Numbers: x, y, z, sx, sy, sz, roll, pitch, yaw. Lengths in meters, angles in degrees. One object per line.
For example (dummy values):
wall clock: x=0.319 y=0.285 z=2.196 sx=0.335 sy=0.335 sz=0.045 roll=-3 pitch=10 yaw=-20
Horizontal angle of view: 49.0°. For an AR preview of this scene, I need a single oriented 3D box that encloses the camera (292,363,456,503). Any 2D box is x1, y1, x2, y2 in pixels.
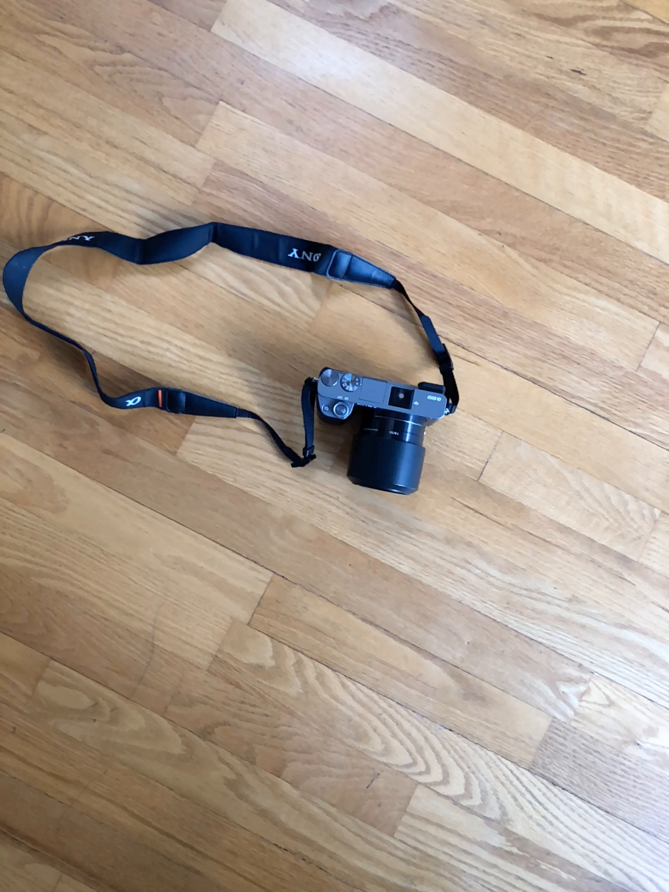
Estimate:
camera: x=0.036 y=-0.009 z=0.718 sx=0.136 sy=0.079 sz=0.106 roll=10 pitch=84 yaw=0
